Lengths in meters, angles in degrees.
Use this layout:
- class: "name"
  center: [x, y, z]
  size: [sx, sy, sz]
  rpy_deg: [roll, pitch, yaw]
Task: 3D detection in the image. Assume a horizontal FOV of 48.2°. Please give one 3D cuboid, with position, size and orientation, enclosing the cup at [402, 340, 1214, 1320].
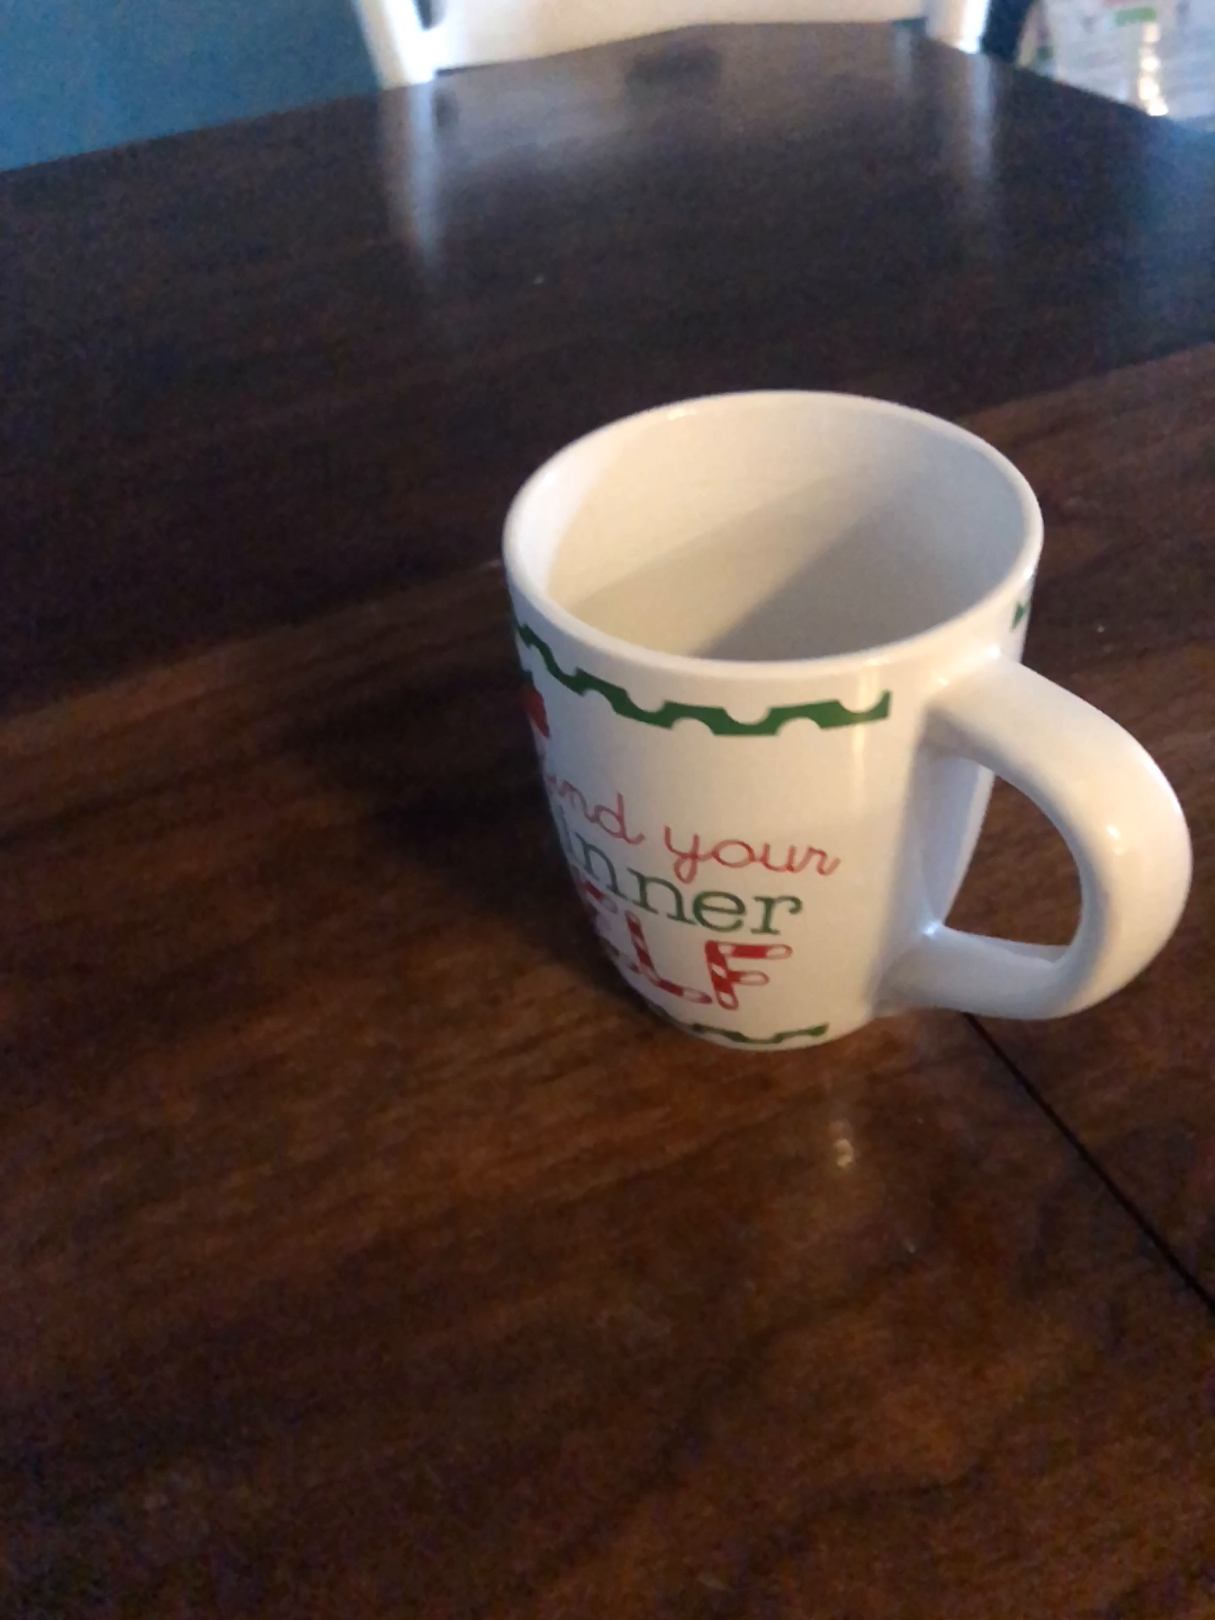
- class: "cup"
  center: [0.054, -0.007, 0.302]
  size: [0.110, 0.120, 0.160]
  rpy_deg: [-31, 47, -25]
